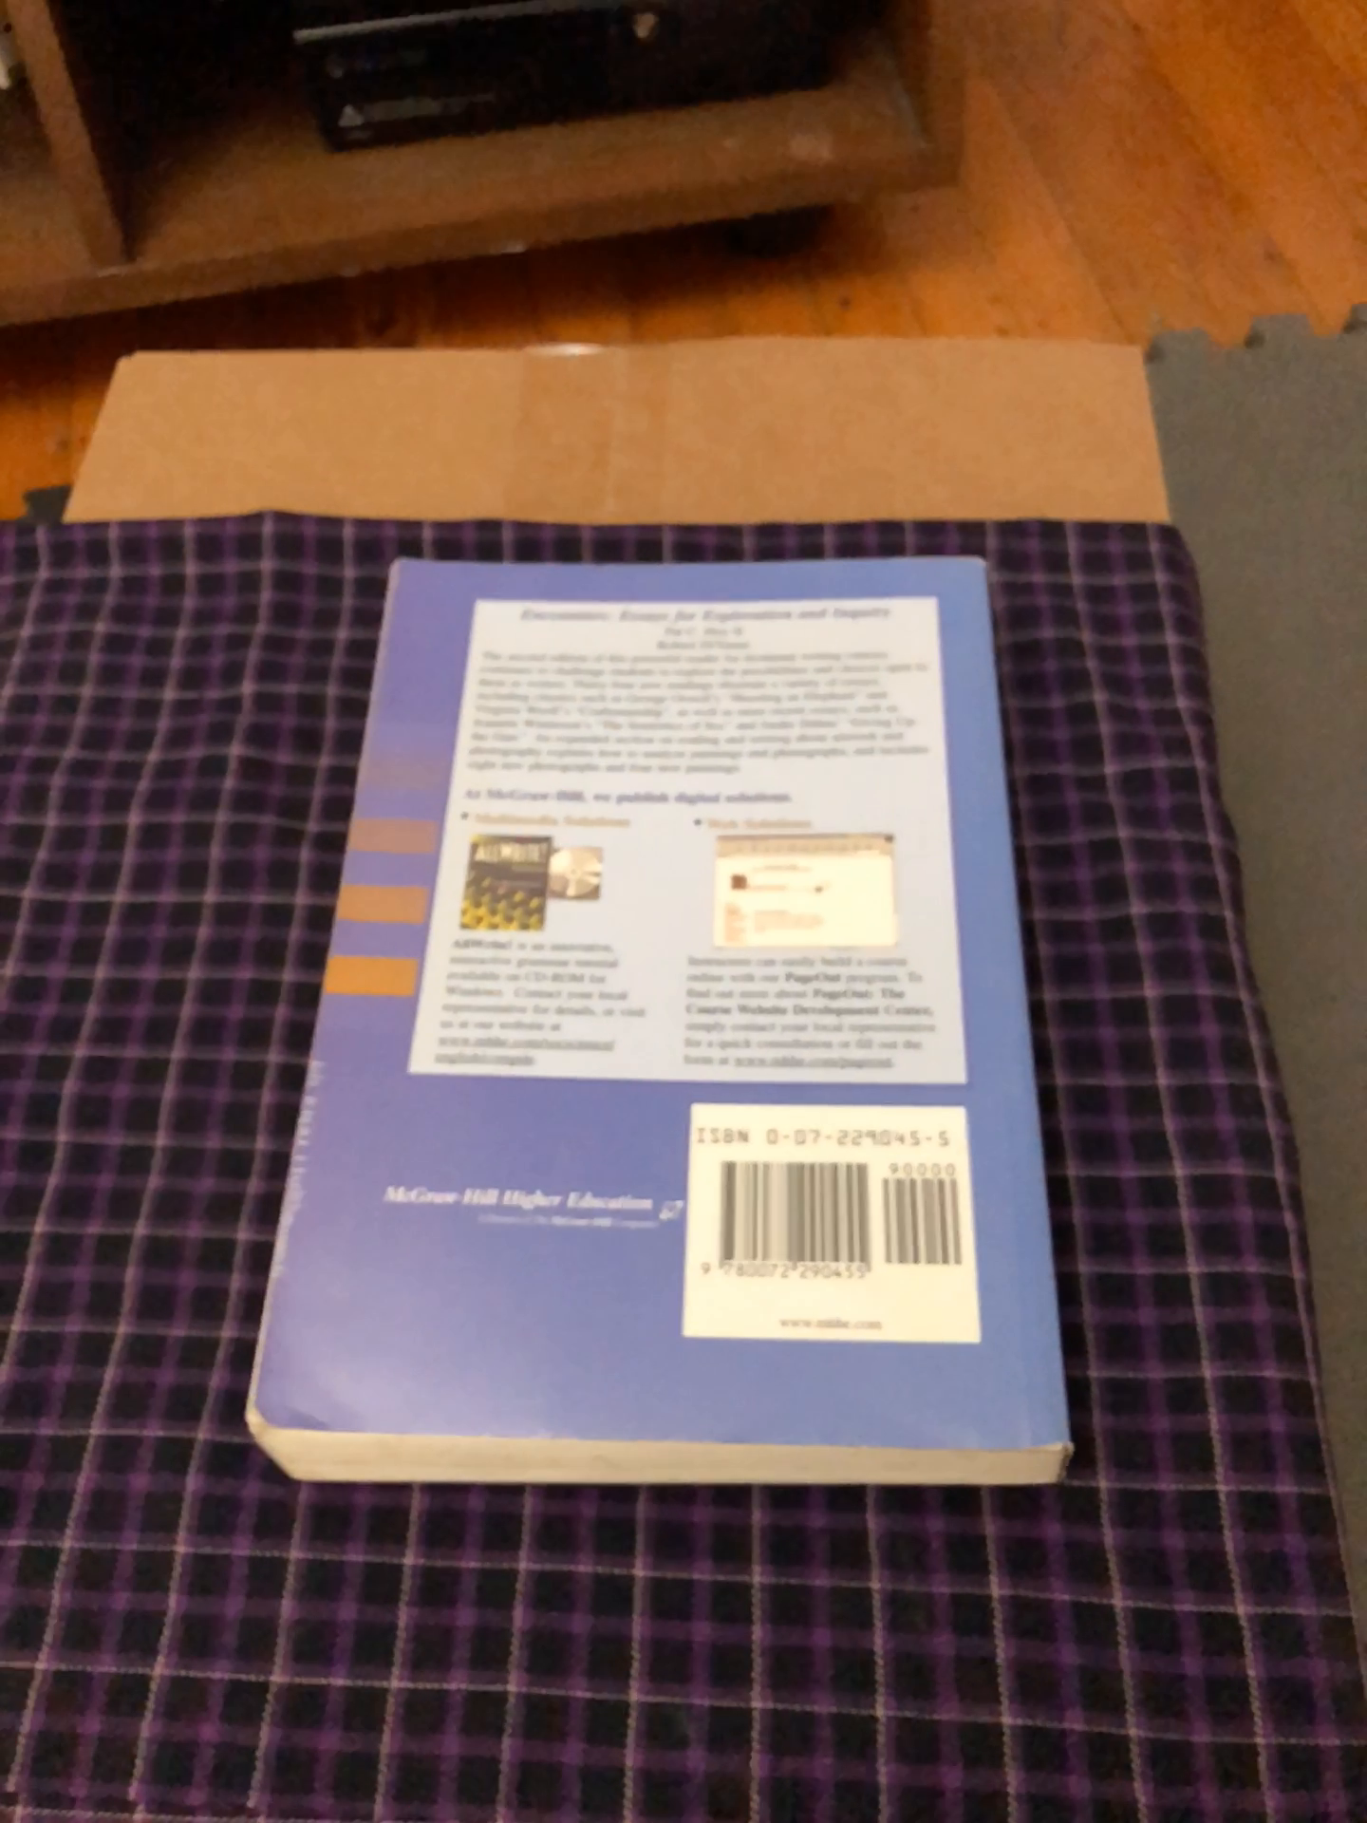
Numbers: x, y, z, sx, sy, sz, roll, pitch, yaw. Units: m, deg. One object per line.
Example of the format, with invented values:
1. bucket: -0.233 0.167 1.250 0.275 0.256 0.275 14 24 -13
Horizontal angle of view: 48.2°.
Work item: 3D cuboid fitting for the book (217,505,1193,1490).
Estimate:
1. book: 0.005 0.007 0.363 0.180 0.040 0.241 -1 58 3
